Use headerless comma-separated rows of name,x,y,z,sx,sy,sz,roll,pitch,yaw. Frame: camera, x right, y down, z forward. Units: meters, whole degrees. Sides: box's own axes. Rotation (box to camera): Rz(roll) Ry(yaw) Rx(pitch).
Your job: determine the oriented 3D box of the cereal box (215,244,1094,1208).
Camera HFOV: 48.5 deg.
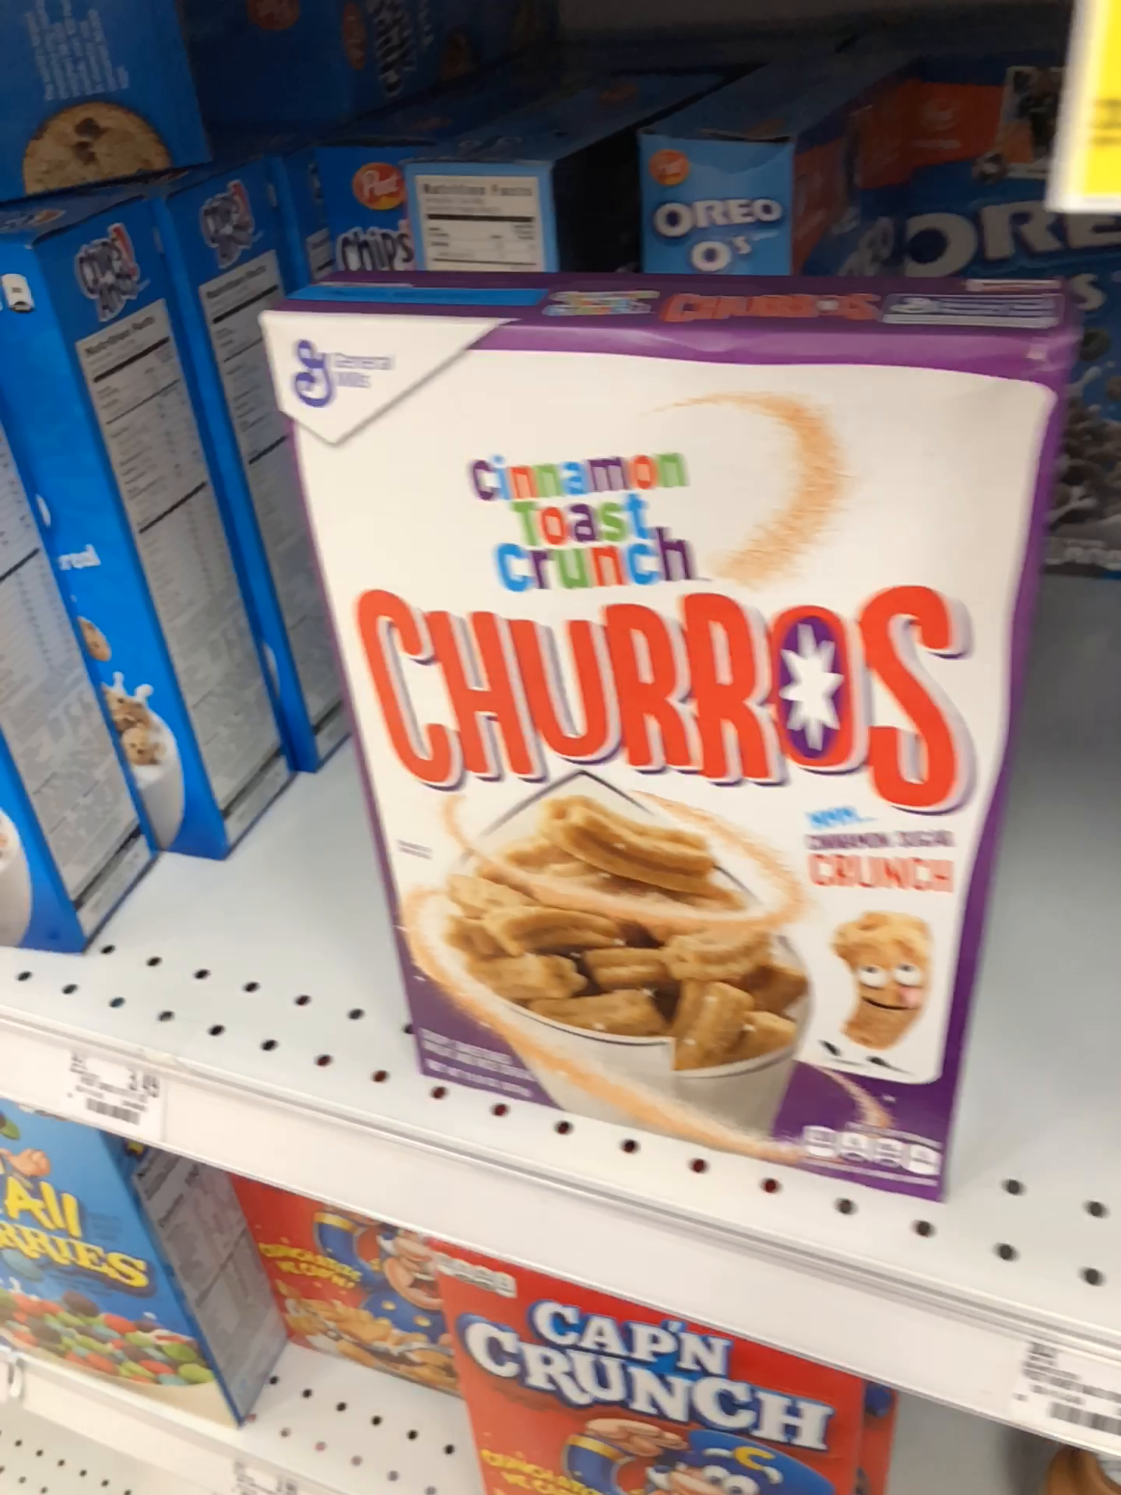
cereal box,0.030,0.002,0.376,0.200,0.279,0.060,8,37,20
